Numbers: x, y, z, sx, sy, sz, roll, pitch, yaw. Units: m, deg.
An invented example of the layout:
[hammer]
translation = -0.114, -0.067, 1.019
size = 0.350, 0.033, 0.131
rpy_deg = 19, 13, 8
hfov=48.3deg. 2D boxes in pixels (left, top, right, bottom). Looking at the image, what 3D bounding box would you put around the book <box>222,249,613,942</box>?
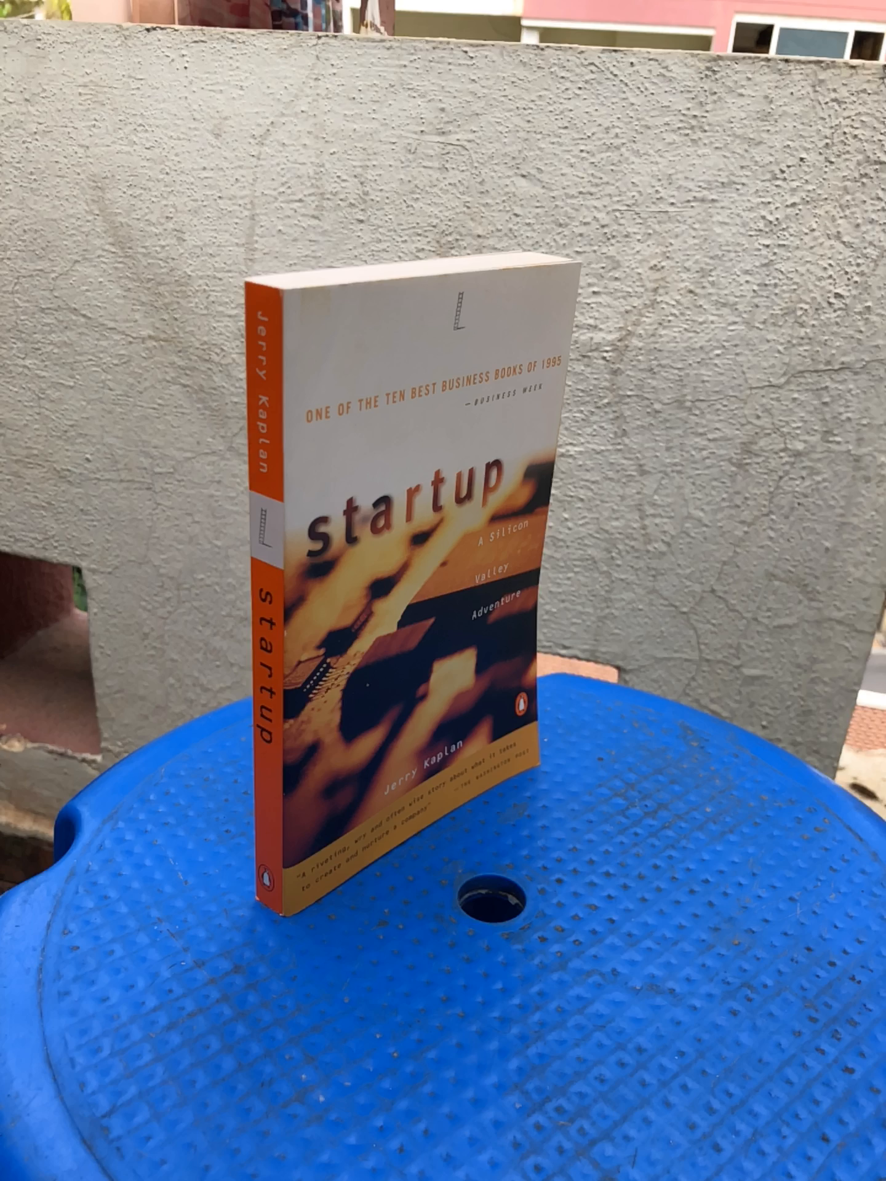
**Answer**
[book]
translation = -0.006, -0.005, 0.329
size = 0.030, 0.199, 0.140
rpy_deg = 22, 30, 34
